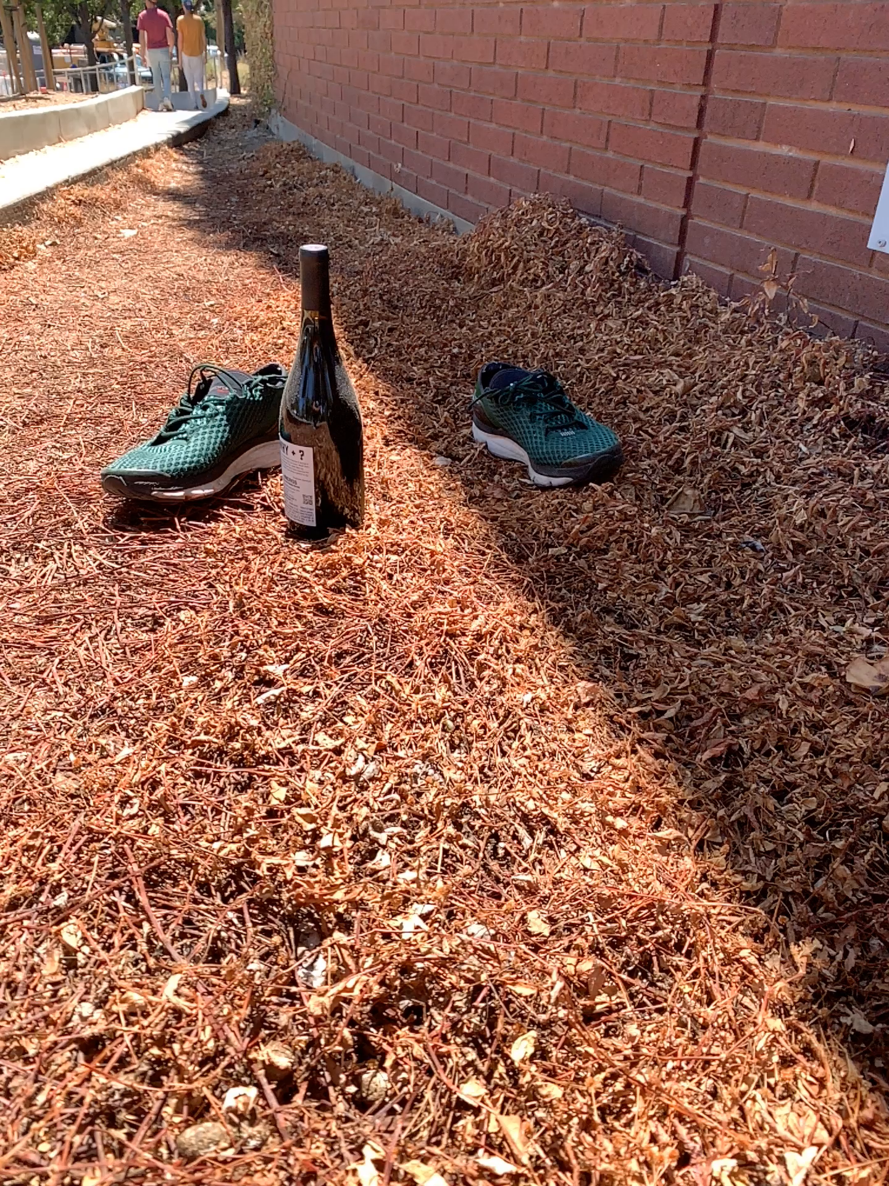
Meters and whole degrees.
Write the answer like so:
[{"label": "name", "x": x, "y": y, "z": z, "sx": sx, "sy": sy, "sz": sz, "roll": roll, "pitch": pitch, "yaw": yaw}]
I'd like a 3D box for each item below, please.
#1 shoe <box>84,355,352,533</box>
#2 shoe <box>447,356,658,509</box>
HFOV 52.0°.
[{"label": "shoe", "x": -0.252, "y": -0.188, "z": 1.079, "sx": 0.140, "sy": 0.089, "sz": 0.301, "roll": 17, "pitch": 34, "yaw": 23}, {"label": "shoe", "x": 0.127, "y": -0.215, "z": 1.169, "sx": 0.130, "sy": 0.089, "sz": 0.272, "roll": -15, "pitch": 35, "yaw": -25}]
